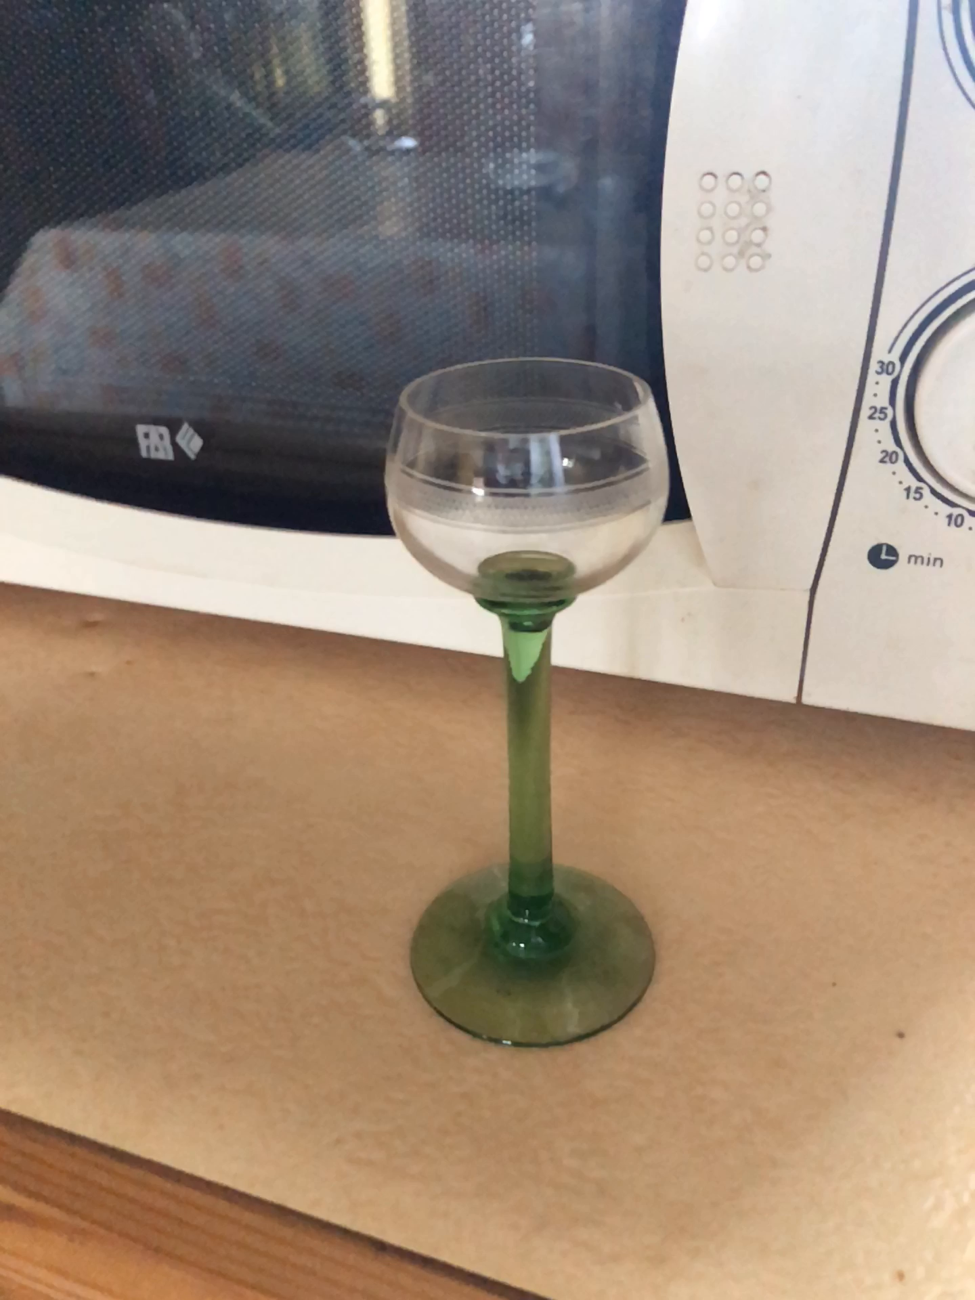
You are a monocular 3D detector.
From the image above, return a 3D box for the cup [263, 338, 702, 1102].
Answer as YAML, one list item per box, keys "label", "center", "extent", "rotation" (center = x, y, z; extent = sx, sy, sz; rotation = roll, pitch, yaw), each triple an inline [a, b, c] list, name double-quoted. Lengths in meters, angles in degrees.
- label: "cup"
  center: [0.005, 0.015, 0.205]
  extent: [0.060, 0.129, 0.060]
  rotation: [-1, 31, 1]
